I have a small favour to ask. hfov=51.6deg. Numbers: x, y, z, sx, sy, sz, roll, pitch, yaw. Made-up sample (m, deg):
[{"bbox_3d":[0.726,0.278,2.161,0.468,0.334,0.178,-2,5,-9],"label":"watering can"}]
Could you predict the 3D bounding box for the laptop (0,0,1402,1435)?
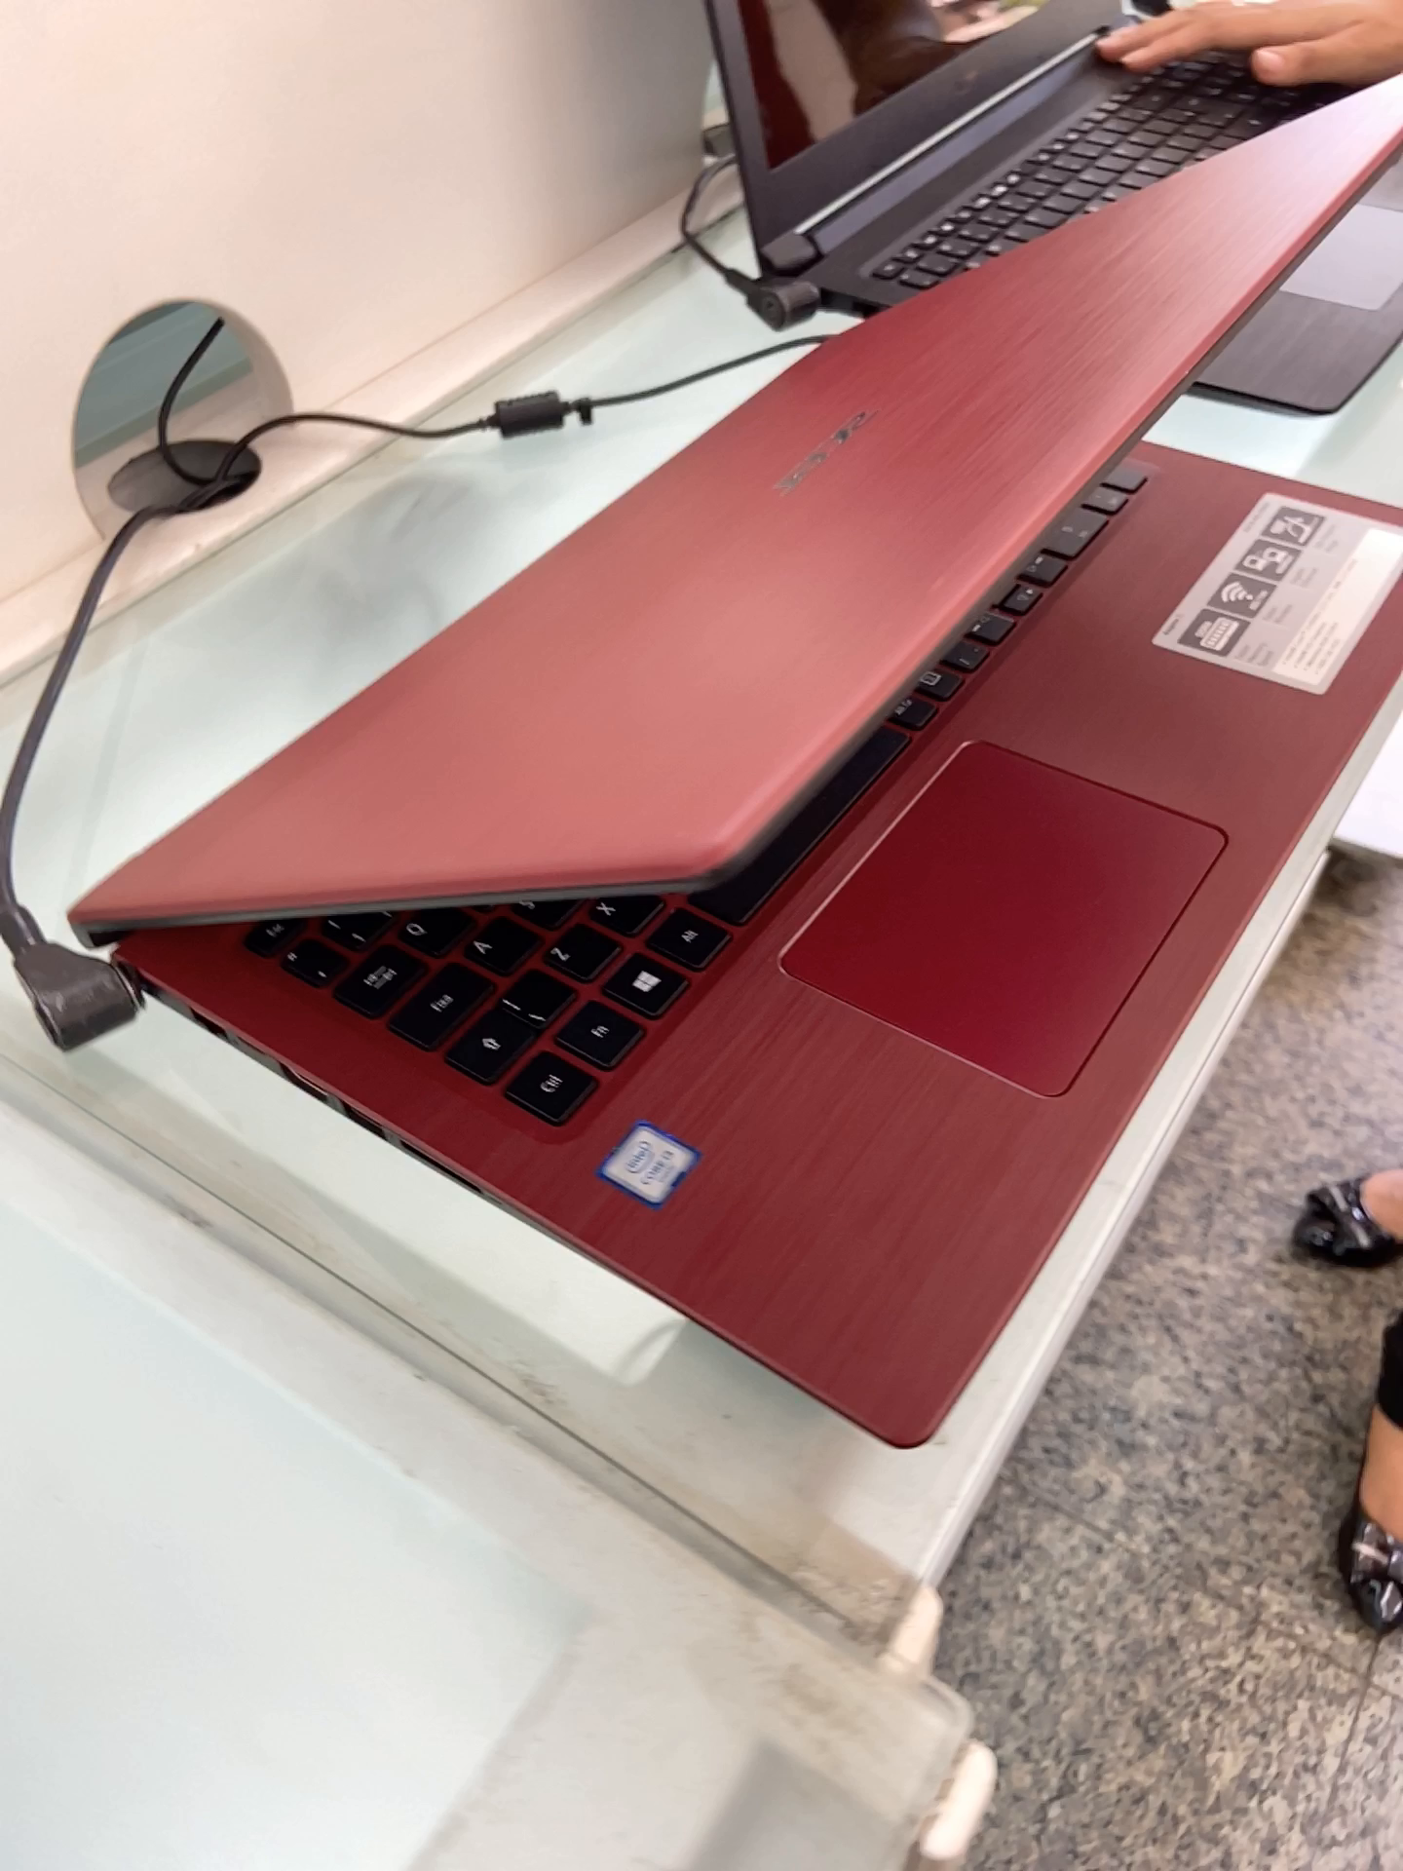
[{"bbox_3d":[0.045,-0.113,0.386,0.236,0.132,0.381,25,52,25],"label":"laptop"}]
